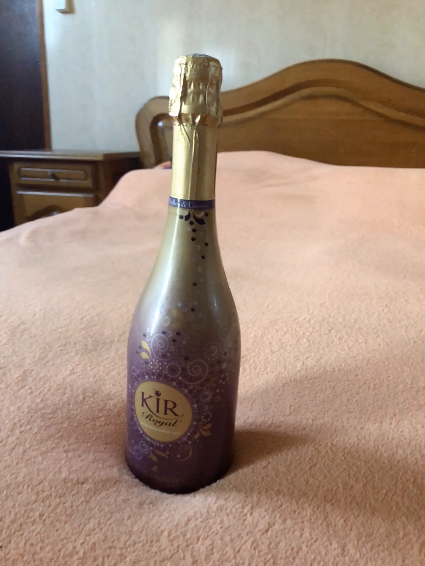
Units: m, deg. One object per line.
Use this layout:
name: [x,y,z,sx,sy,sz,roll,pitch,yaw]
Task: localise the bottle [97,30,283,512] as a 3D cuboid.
bottle: [-0.019,-0.004,0.345,0.090,0.309,0.090,3,17,-1]
